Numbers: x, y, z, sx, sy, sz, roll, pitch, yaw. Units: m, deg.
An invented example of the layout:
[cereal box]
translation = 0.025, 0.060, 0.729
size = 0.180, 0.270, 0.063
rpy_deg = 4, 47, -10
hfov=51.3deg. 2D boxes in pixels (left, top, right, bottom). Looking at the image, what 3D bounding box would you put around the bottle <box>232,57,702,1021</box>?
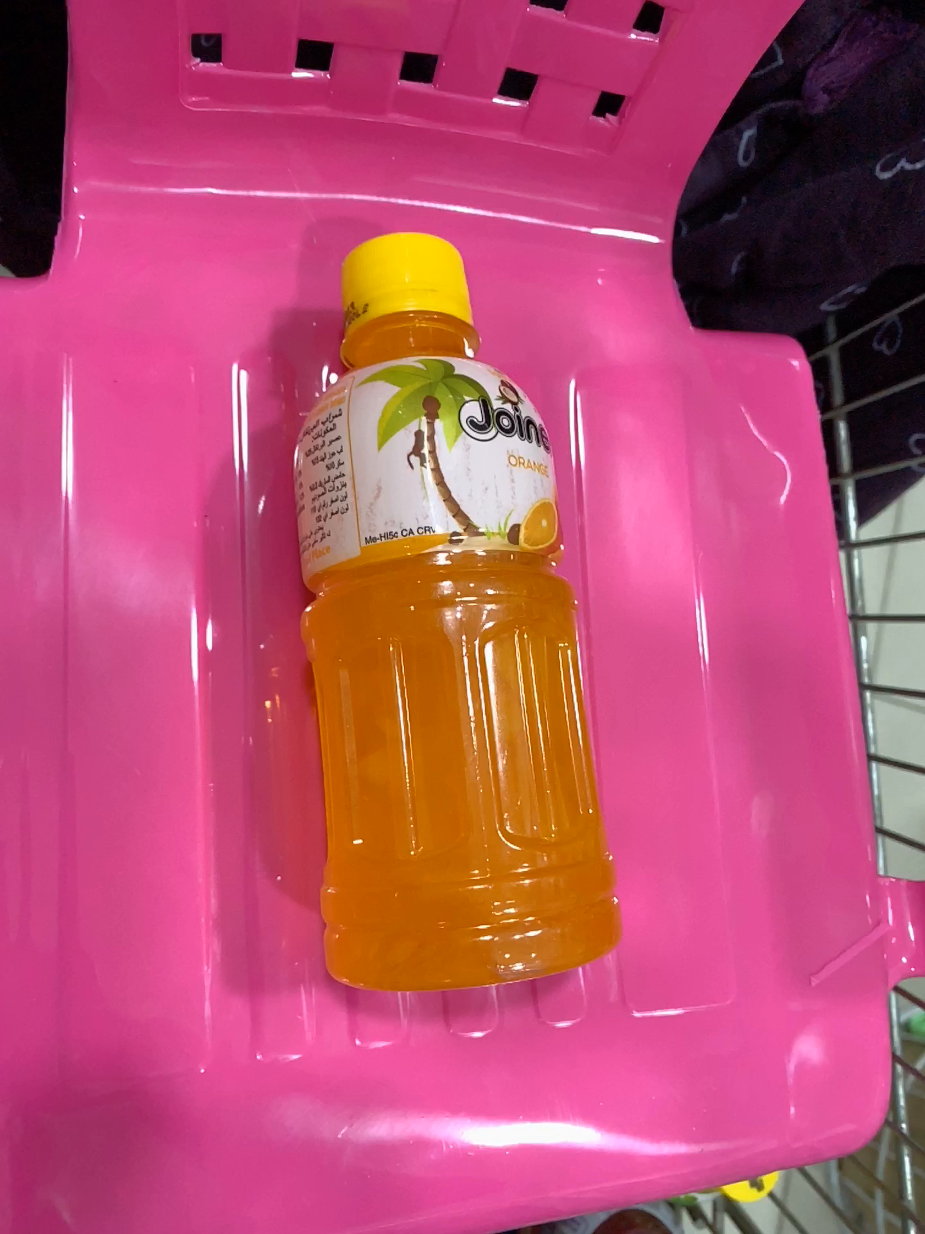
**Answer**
[bottle]
translation = -0.001, -0.014, 0.212
size = 0.070, 0.060, 0.170
rpy_deg = 0, 83, -38
